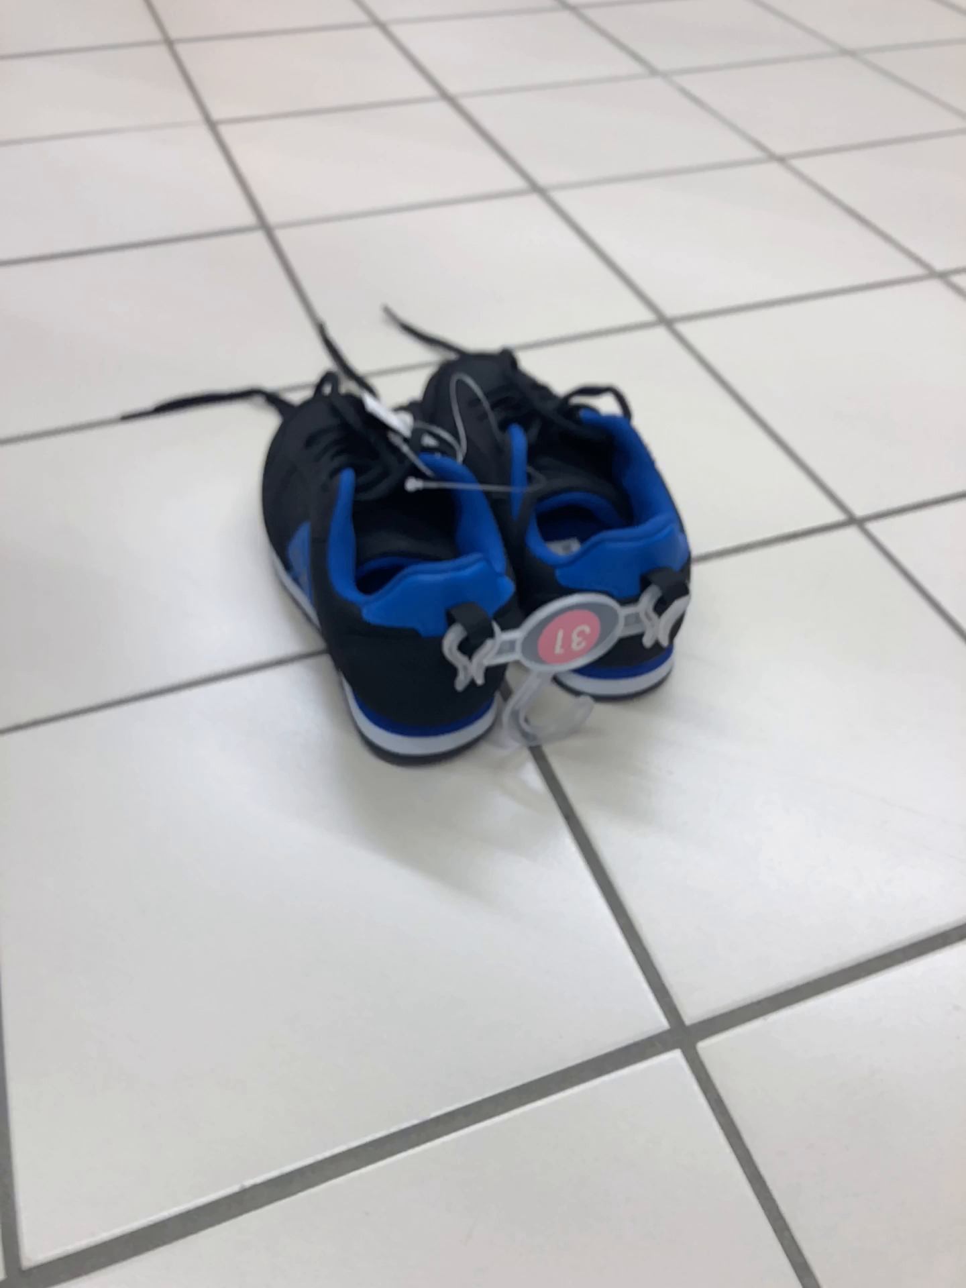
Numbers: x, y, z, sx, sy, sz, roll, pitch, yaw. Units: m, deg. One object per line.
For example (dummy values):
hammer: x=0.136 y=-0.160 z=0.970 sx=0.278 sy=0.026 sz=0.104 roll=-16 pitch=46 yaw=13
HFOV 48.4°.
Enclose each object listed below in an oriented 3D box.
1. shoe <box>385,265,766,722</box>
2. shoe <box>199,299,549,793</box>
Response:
shoe: x=0.027 y=-0.077 z=0.472 sx=0.076 sy=0.082 sz=0.208 roll=-15 pitch=47 yaw=-16
shoe: x=-0.053 y=-0.052 z=0.446 sx=0.076 sy=0.082 sz=0.208 roll=-15 pitch=47 yaw=-16
